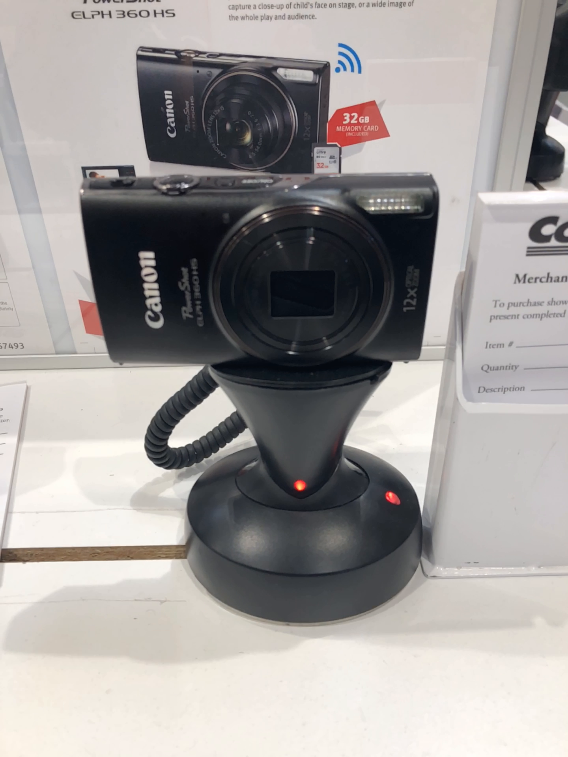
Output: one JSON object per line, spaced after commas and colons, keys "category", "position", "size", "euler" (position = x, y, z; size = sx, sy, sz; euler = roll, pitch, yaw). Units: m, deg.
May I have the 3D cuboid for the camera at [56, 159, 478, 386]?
{"category": "camera", "position": [-0.004, -0.032, 0.193], "size": [0.110, 0.060, 0.030], "euler": [-1, 34, 1]}
